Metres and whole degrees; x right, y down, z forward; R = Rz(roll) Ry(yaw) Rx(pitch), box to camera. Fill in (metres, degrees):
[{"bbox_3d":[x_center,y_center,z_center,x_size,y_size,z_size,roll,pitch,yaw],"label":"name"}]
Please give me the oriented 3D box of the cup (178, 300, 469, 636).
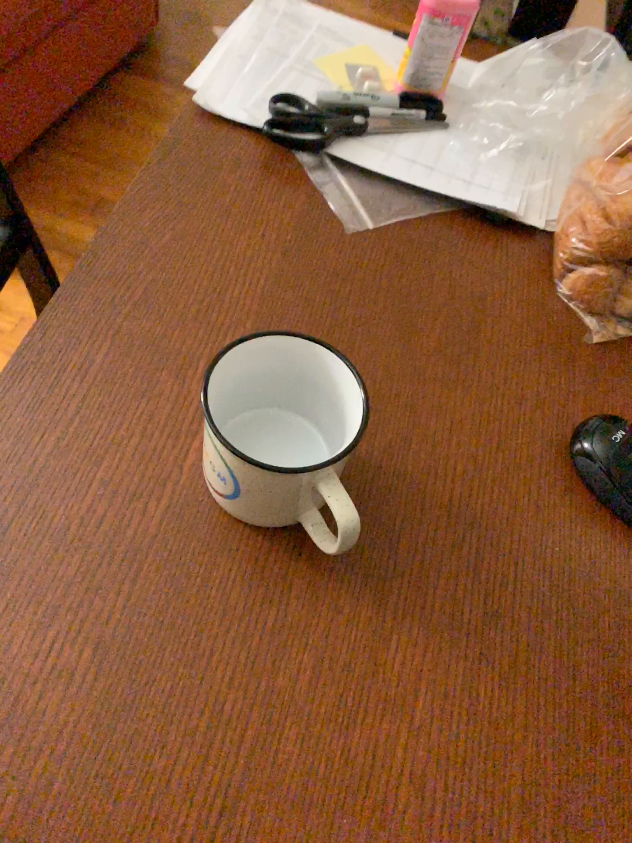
[{"bbox_3d":[-0.007,0.026,0.394,0.100,0.100,0.150,-21,65,-23],"label":"cup"}]
